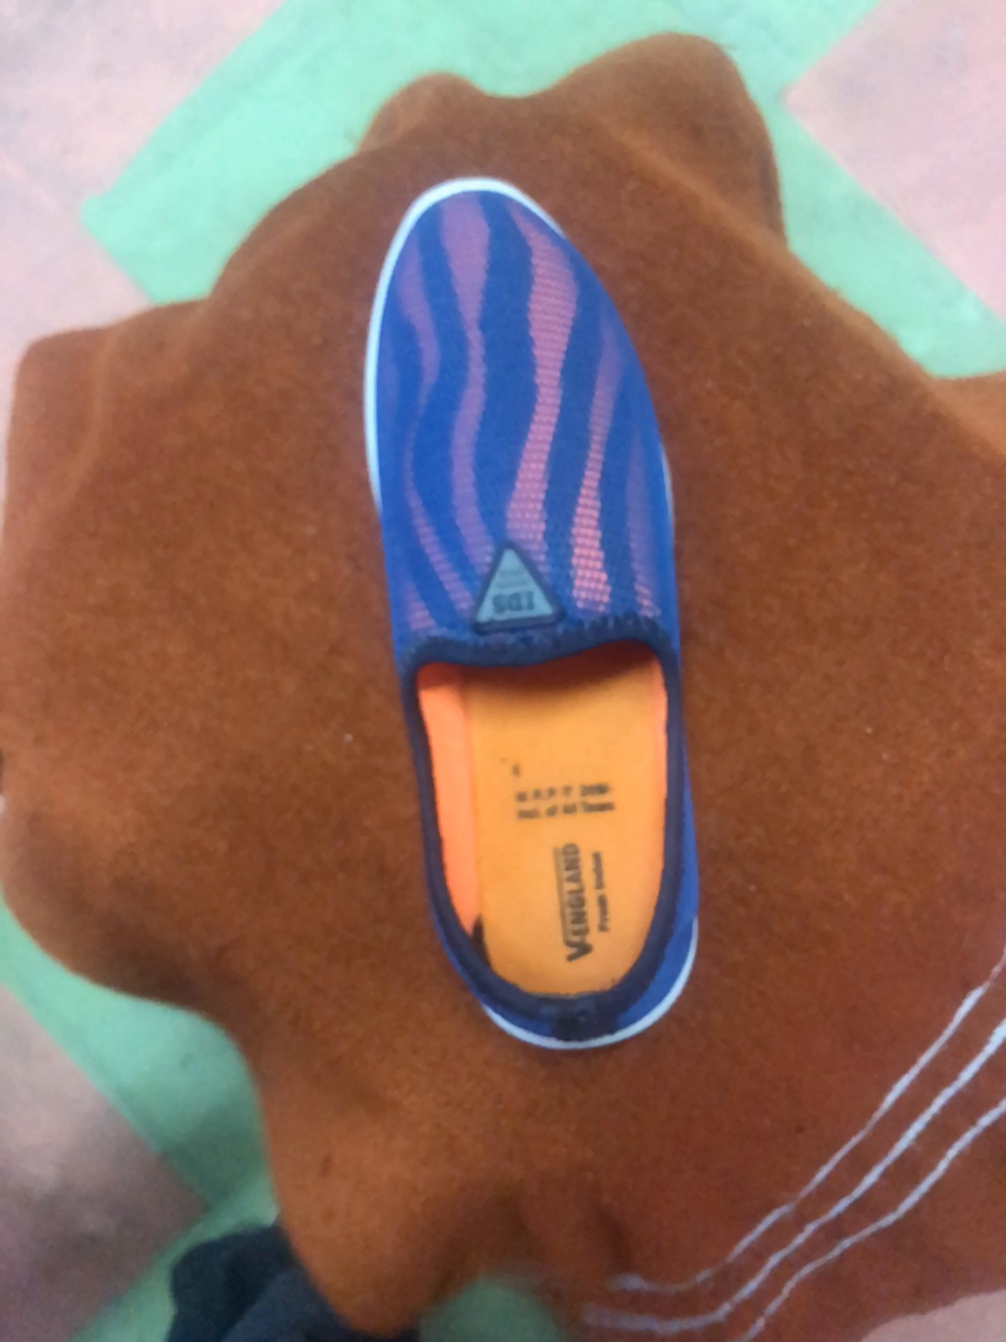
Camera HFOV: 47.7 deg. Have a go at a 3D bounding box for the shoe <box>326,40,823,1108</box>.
[{"bbox_3d":[0.018,-0.025,0.321,0.090,0.070,0.260,-8,88,2],"label":"shoe"}]
